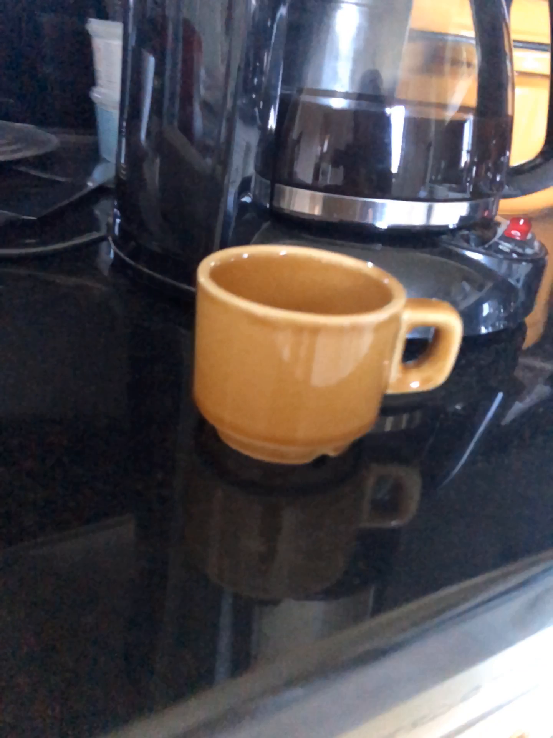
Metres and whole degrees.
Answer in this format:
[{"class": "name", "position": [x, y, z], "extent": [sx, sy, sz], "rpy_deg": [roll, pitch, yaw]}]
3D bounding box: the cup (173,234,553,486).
[{"class": "cup", "position": [0.018, -0.006, 0.195], "extent": [0.100, 0.050, 0.070], "rpy_deg": [0, 28, -10]}]
